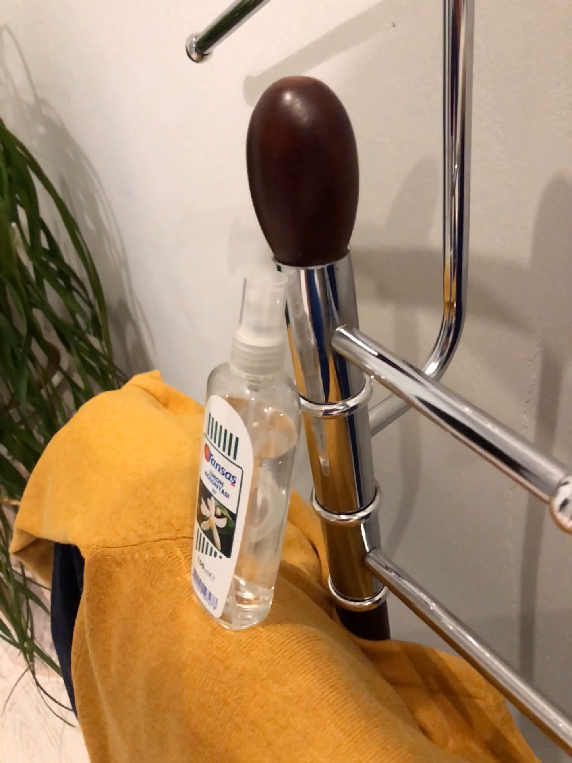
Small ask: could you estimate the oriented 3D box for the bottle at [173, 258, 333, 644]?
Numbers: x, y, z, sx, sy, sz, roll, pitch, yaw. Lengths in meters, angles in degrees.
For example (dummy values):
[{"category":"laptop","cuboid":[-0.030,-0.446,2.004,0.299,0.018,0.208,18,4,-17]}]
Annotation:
[{"category":"bottle","cuboid":[-0.020,0.031,0.272,0.030,0.157,0.051,-7,28,-32]}]
